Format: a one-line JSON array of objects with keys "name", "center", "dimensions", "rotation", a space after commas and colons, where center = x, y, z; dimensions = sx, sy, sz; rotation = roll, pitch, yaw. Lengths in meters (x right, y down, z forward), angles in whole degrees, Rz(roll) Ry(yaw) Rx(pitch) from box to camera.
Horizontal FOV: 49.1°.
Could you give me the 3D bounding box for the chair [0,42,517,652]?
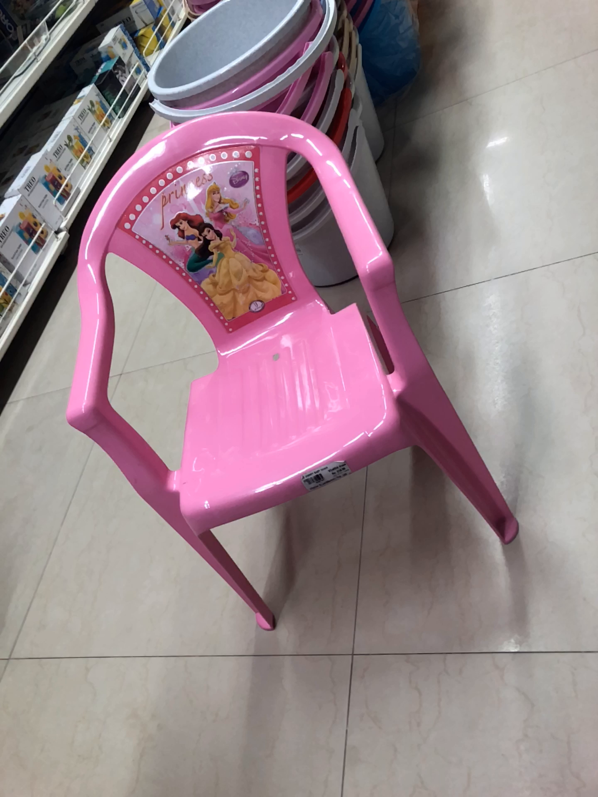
[{"name": "chair", "center": [-0.055, -0.026, 0.745], "dimensions": [0.370, 0.477, 0.352], "rotation": [-27, 42, 12]}]
